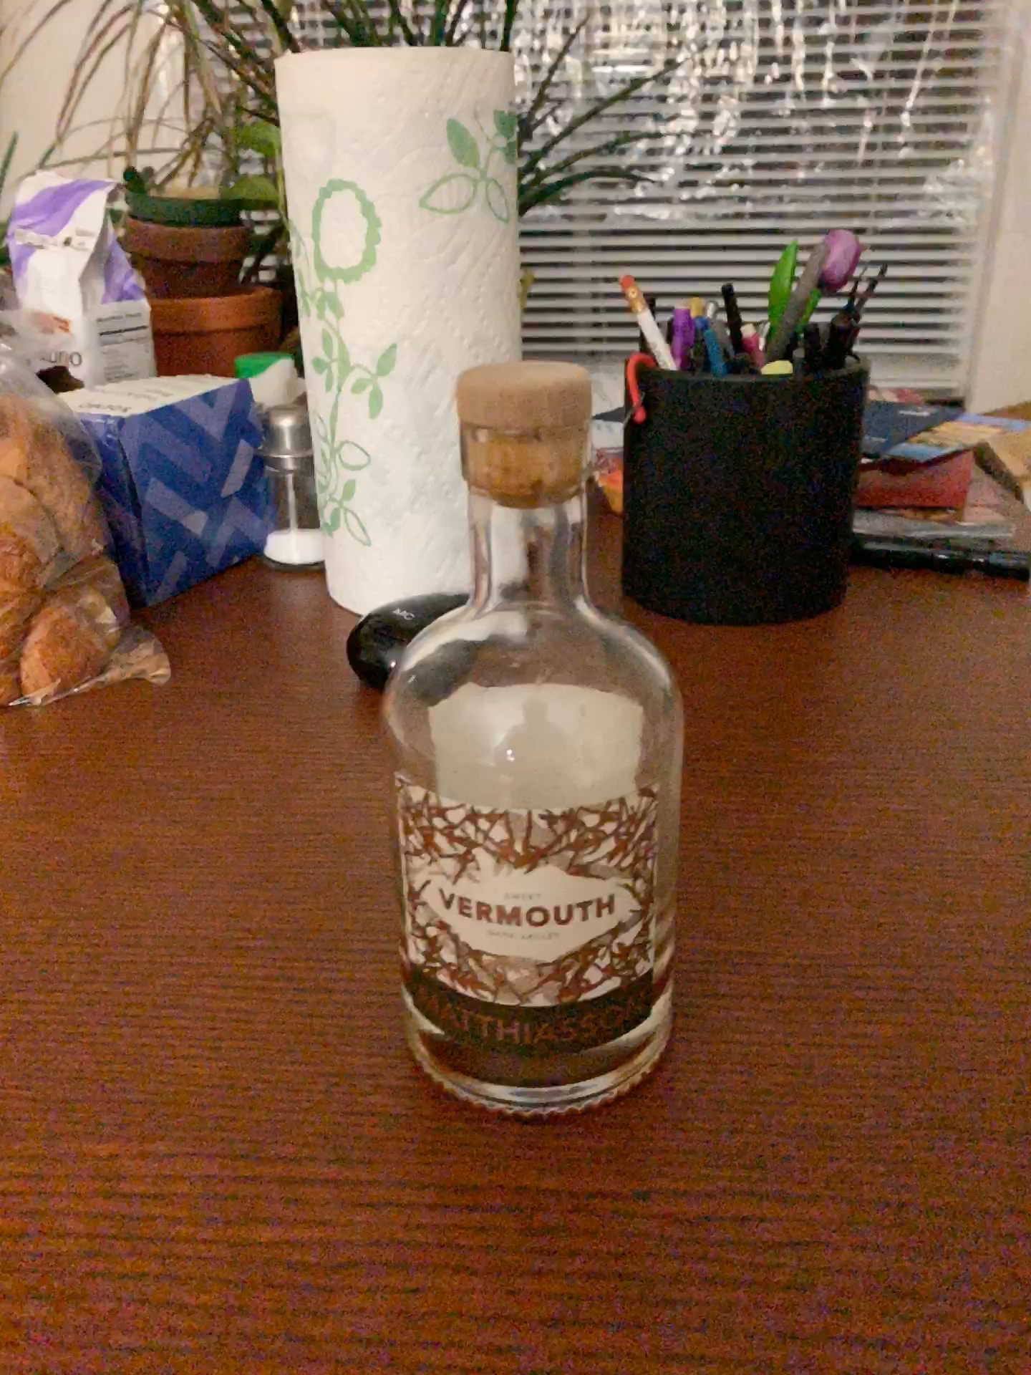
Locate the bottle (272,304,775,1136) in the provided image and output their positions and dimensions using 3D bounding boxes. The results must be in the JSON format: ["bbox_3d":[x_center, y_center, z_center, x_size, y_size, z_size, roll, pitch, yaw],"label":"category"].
[{"bbox_3d":[0.005,0.009,0.266,0.090,0.189,0.080,0,25,3],"label":"bottle"}]
